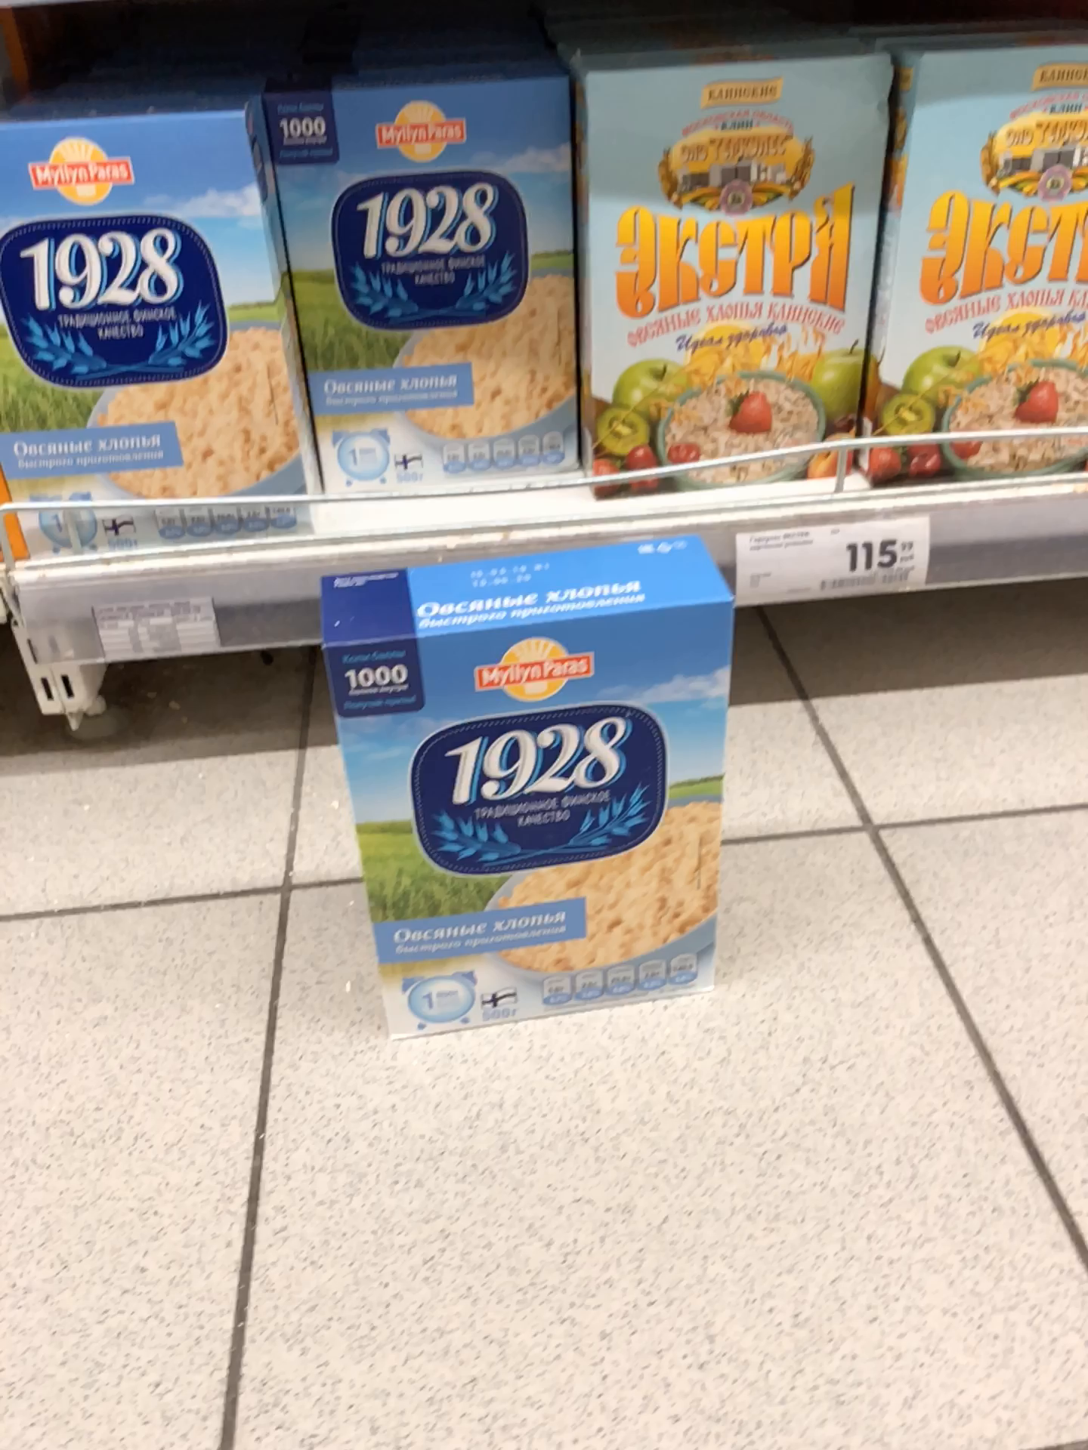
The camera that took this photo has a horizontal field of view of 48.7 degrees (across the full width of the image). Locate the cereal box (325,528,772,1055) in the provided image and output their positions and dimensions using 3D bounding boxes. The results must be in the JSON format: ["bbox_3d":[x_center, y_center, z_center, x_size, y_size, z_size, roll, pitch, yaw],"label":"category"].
[{"bbox_3d":[0.003,0.033,0.482,0.150,0.199,0.060,-7,36,-6],"label":"cereal box"}]
